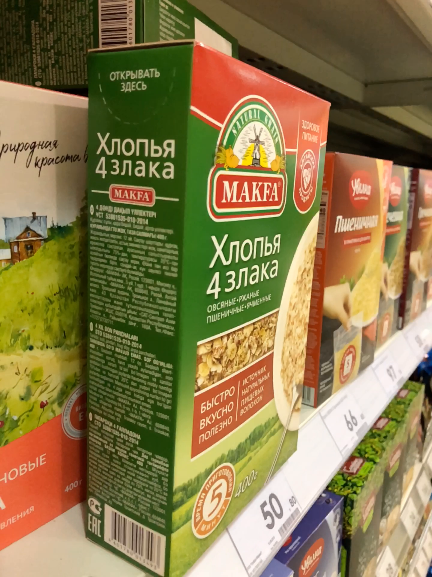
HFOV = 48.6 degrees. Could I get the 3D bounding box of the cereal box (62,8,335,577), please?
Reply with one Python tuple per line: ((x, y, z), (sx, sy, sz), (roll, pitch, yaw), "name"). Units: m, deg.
((-0.001, 0.005, 0.233), (0.050, 0.209, 0.140), (11, 14, 31), "cereal box")
